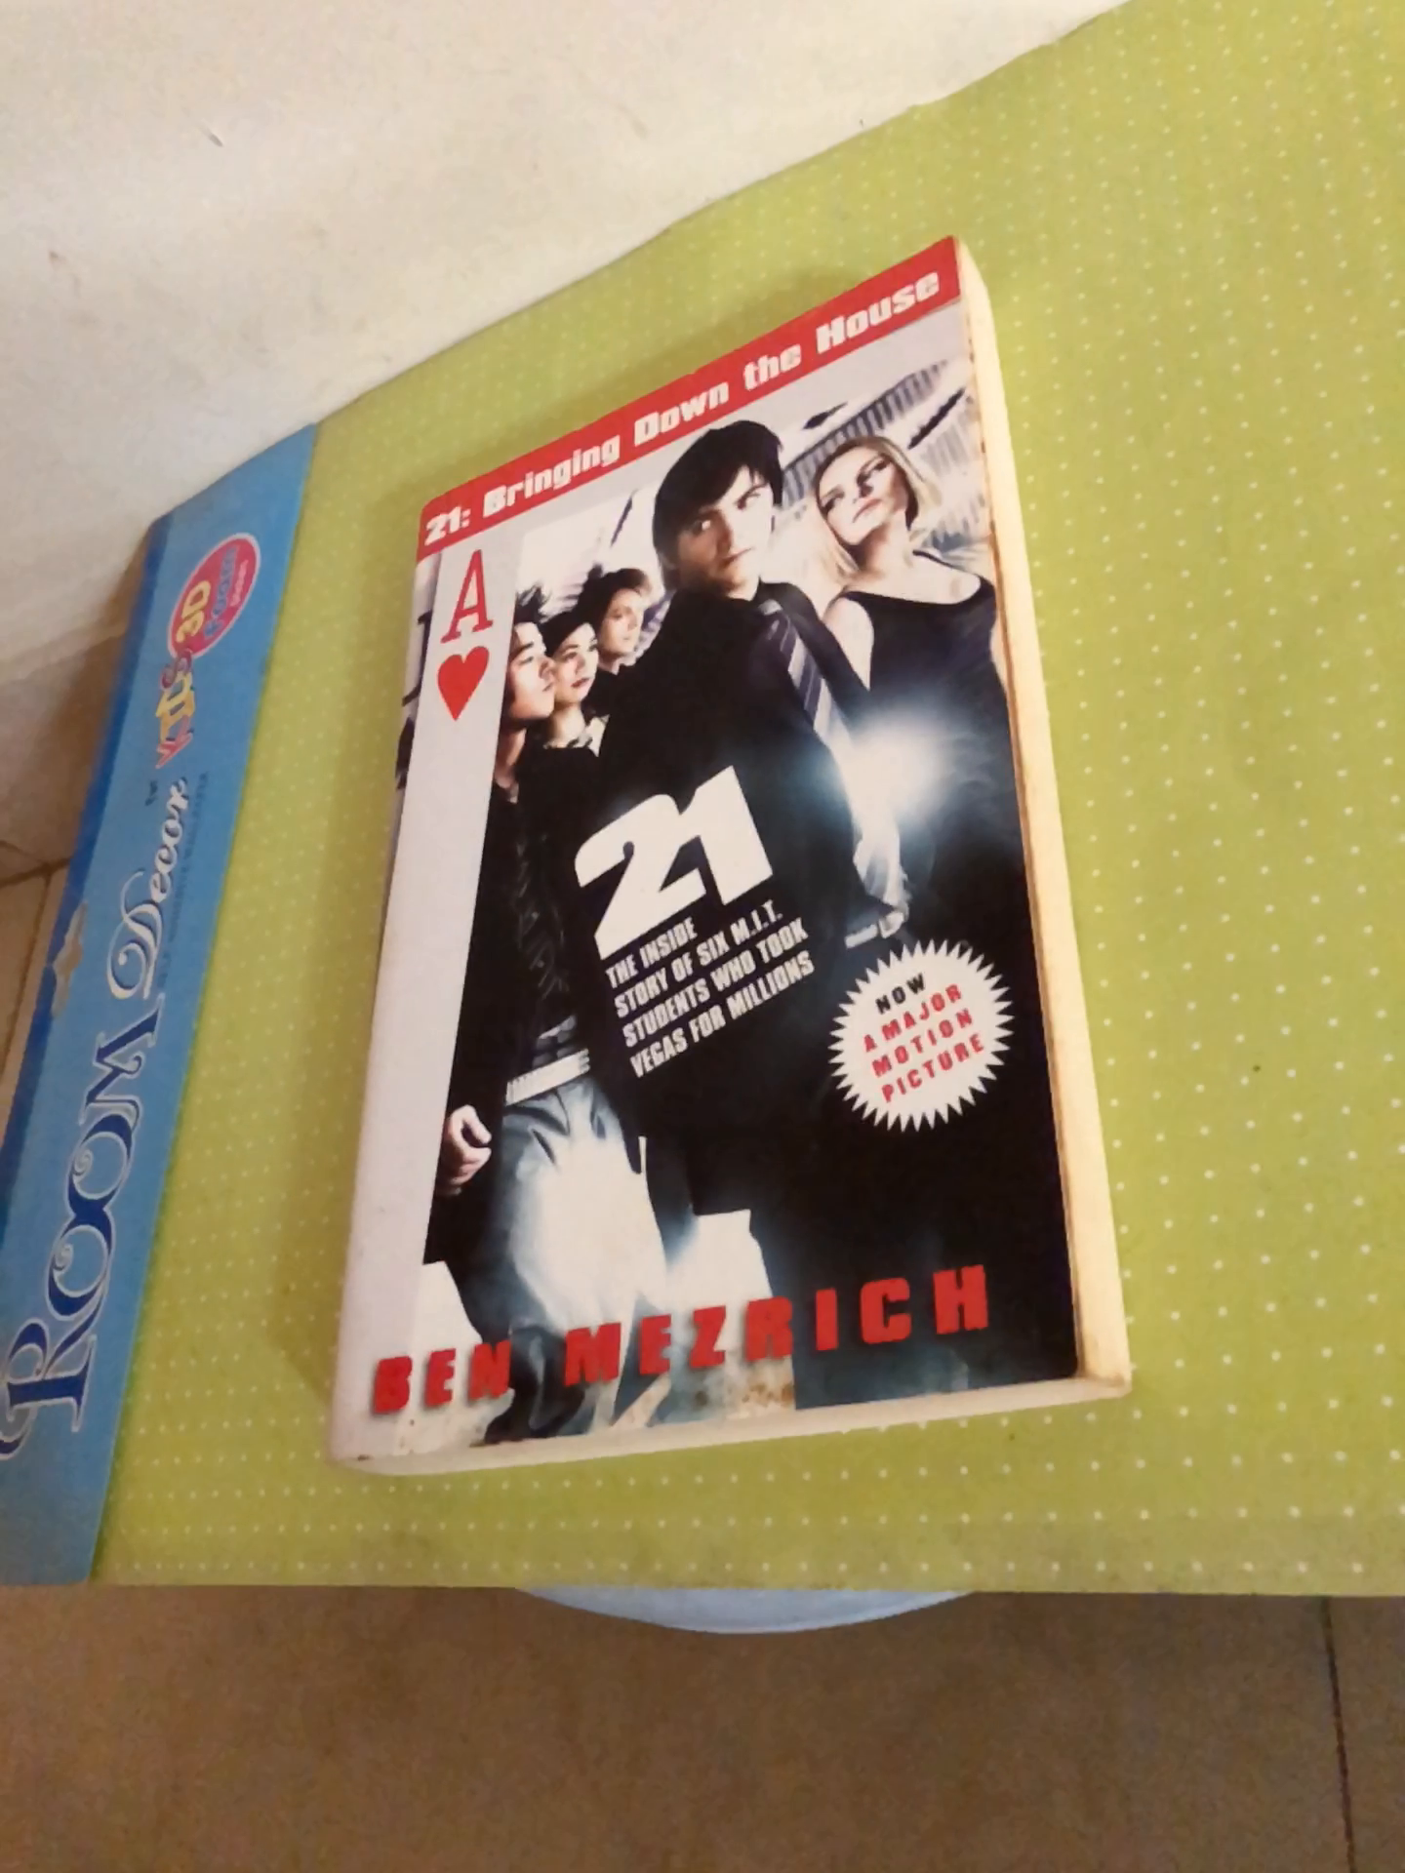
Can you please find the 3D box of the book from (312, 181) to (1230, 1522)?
[{"bbox_3d":[0.004,-0.016,0.274,0.130,0.040,0.210,-17,59,29],"label":"book"}]
